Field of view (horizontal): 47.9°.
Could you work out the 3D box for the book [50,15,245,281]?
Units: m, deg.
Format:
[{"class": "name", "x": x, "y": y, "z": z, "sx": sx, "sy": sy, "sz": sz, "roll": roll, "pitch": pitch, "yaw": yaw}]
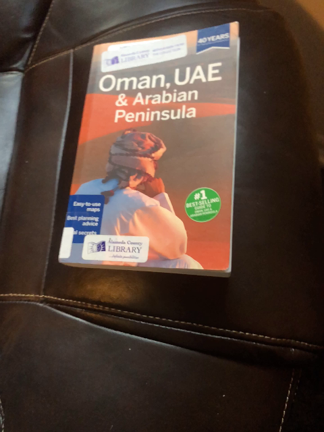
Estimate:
[{"class": "book", "x": -0.006, "y": -0.055, "z": 0.292, "sx": 0.138, "sy": 0.030, "sz": 0.203, "roll": 0, "pitch": 75, "yaw": 15}]
